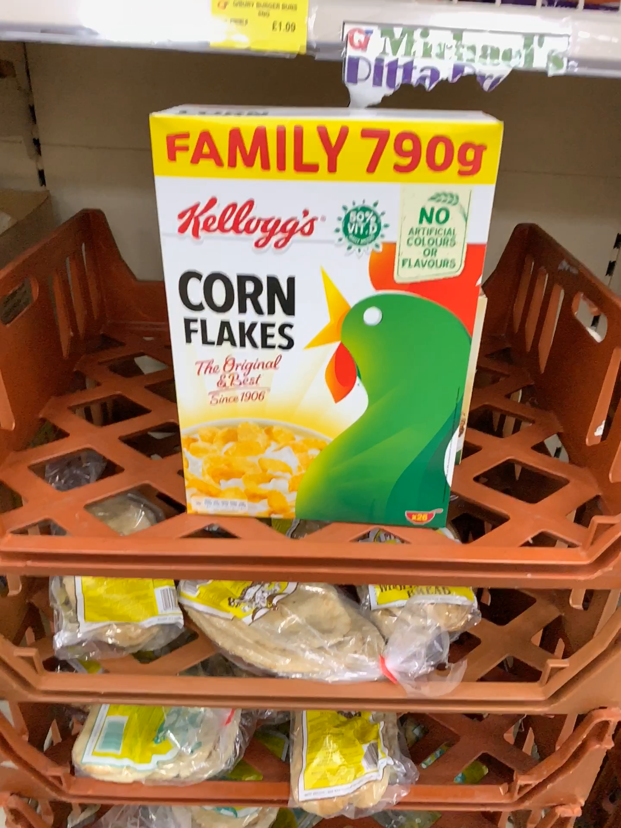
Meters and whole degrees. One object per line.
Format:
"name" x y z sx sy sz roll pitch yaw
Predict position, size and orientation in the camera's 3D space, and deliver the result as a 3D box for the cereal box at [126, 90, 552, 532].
"cereal box" 0.014 -0.070 0.525 0.270 0.337 0.091 3 30 1
